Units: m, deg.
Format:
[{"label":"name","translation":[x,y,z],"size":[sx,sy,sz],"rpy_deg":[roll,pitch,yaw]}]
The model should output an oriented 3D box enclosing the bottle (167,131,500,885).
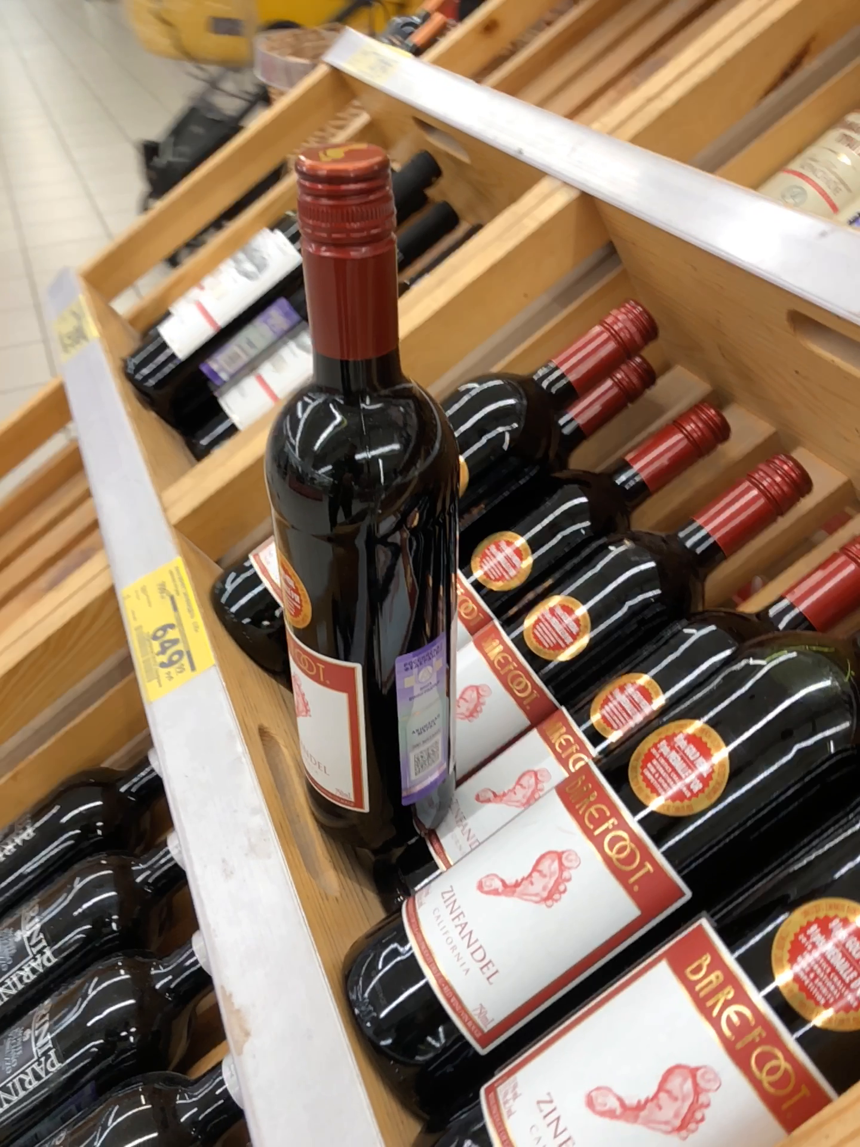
[{"label":"bottle","translation":[-0.027,-0.010,0.368],"size":[0.071,0.278,0.076],"rpy_deg":[-1,35,1]}]
